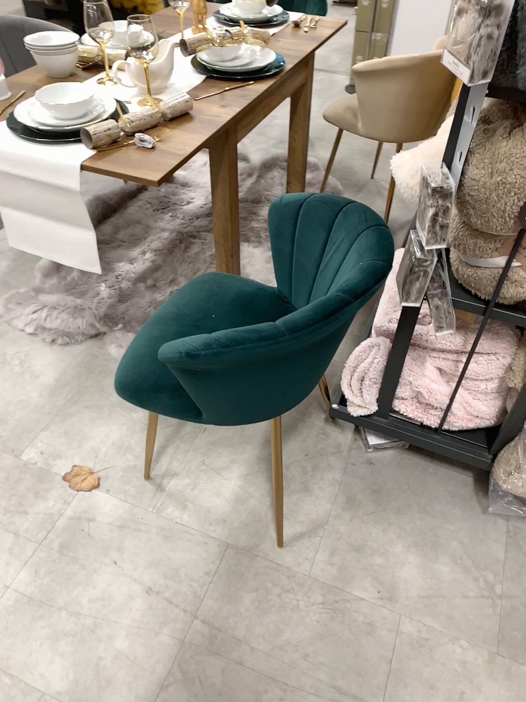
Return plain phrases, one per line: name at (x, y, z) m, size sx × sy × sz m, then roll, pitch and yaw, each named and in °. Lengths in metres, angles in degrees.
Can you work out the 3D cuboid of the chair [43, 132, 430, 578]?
chair at (-0.015, 0.012, 1.245) m, size 0.525 × 0.754 × 0.544 m, roll 18°, pitch 47°, yaw 18°
